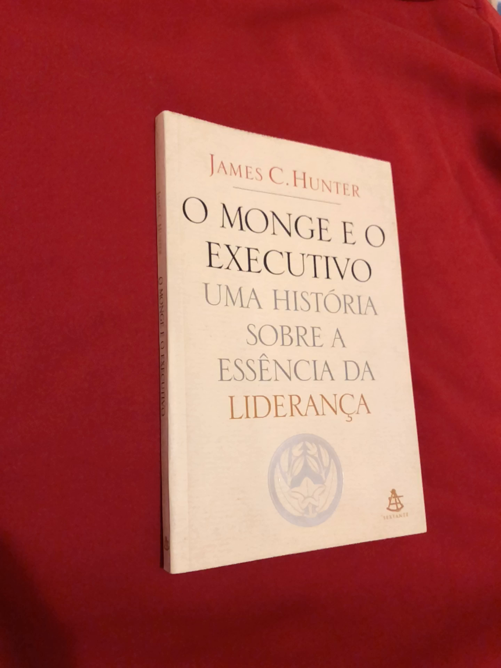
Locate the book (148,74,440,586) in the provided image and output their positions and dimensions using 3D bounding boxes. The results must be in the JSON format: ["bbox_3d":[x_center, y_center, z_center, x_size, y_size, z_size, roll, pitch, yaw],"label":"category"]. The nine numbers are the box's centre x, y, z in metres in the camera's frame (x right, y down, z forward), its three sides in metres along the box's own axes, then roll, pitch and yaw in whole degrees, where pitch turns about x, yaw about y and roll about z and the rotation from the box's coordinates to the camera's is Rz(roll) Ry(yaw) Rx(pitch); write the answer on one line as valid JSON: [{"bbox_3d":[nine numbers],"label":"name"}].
[{"bbox_3d":[0.022,-0.005,0.281,0.140,0.030,0.220,3,77,-29],"label":"book"}]
